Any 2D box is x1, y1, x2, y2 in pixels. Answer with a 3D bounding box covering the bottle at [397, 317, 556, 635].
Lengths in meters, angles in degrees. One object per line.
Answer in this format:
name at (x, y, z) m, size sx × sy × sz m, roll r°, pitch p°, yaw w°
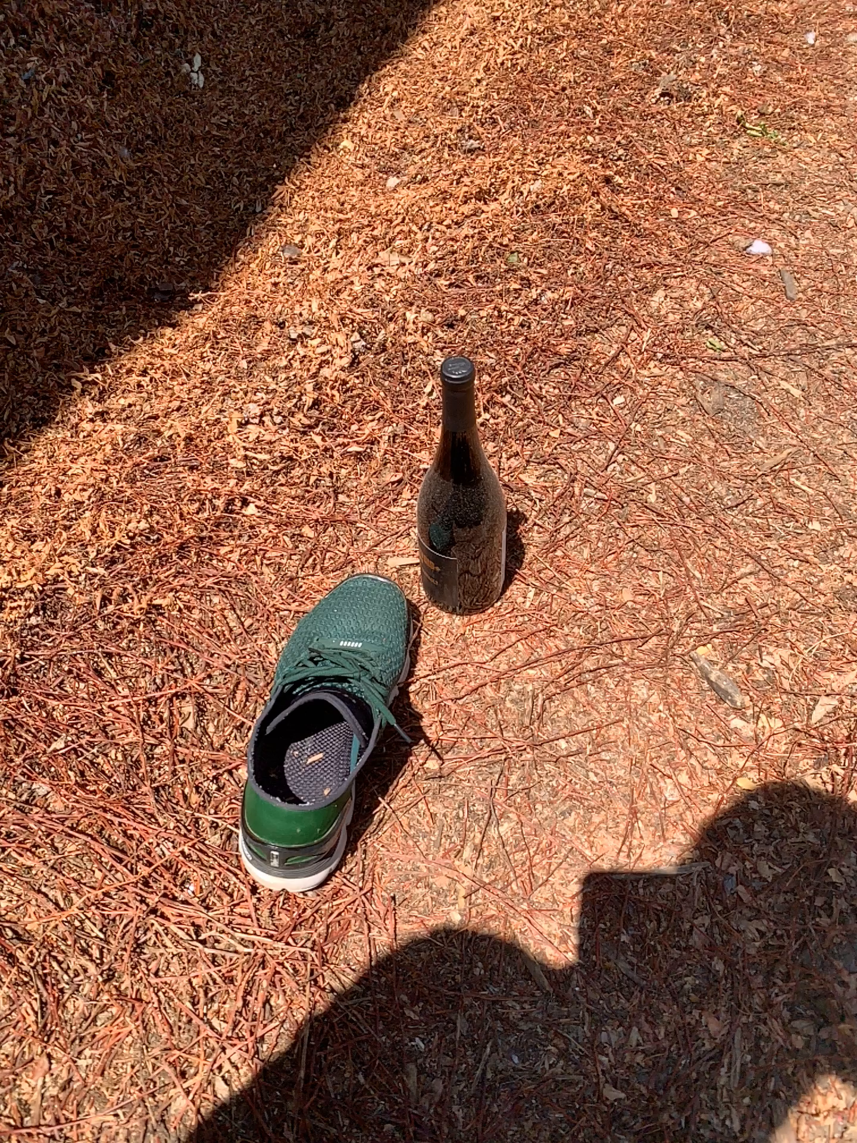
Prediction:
bottle at (0.035, -0.075, 0.786) m, size 0.090 × 0.269 × 0.101 m, roll -18°, pitch 51°, yaw -15°
